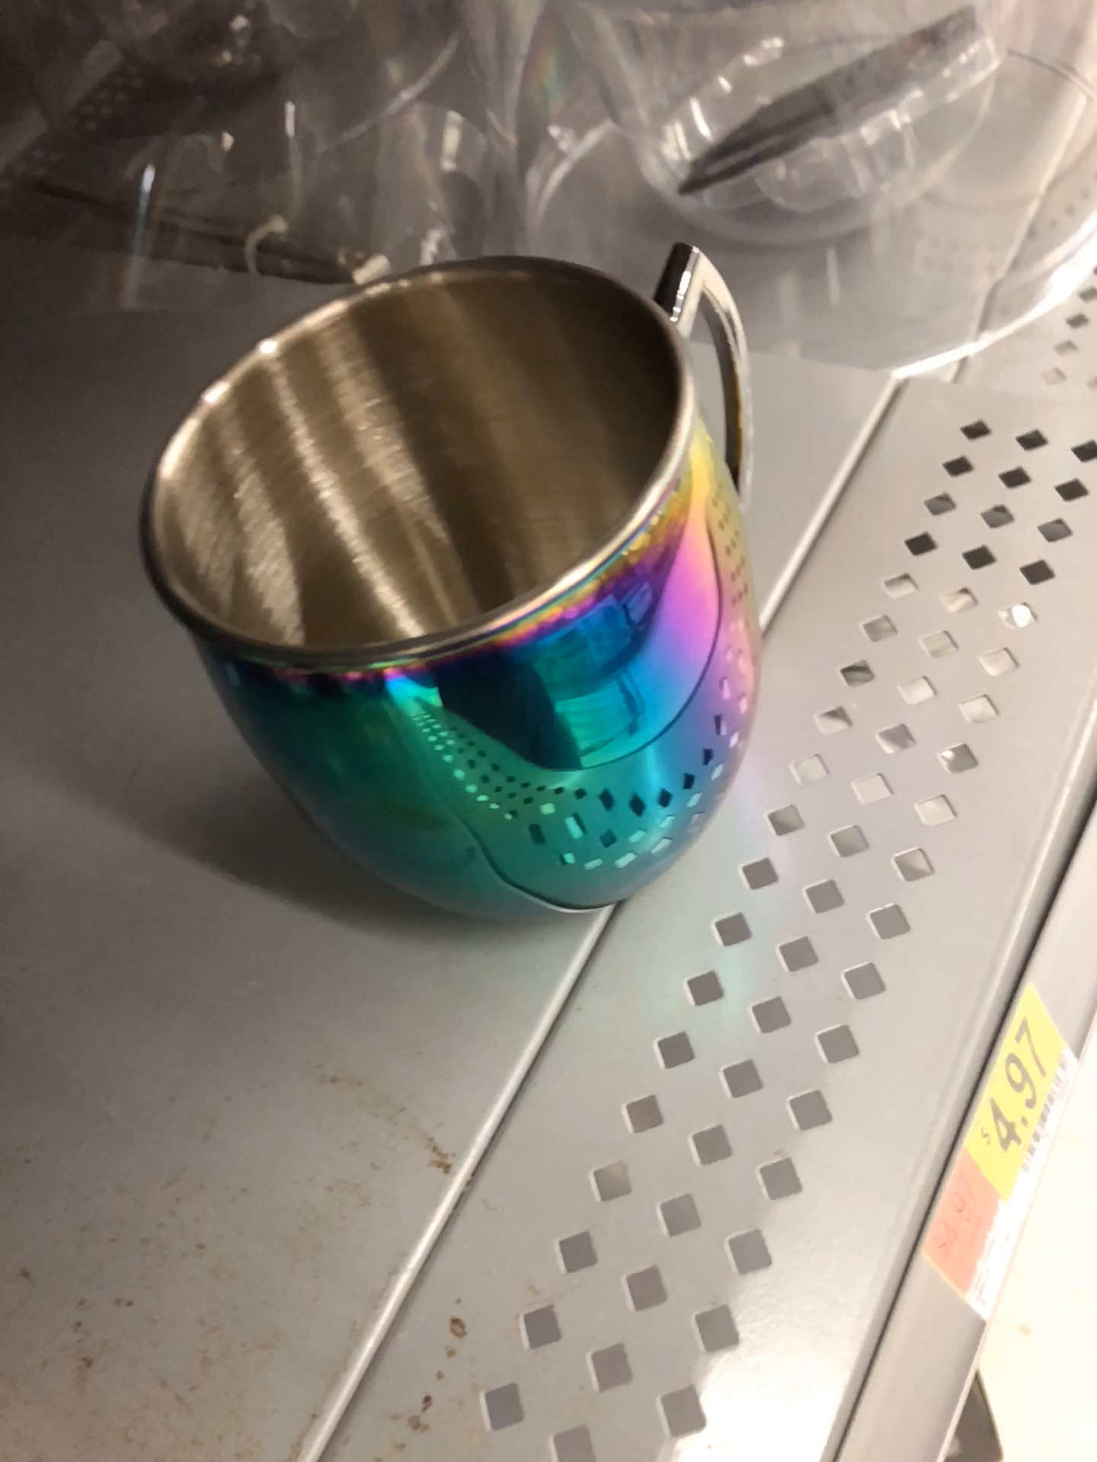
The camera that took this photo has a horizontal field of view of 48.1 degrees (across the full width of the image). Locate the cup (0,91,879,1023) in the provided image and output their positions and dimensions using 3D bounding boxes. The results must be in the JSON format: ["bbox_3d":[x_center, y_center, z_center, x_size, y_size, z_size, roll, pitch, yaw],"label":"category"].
[{"bbox_3d":[-0.010,-0.039,0.244,0.104,0.097,0.133,20,62,26],"label":"cup"}]
